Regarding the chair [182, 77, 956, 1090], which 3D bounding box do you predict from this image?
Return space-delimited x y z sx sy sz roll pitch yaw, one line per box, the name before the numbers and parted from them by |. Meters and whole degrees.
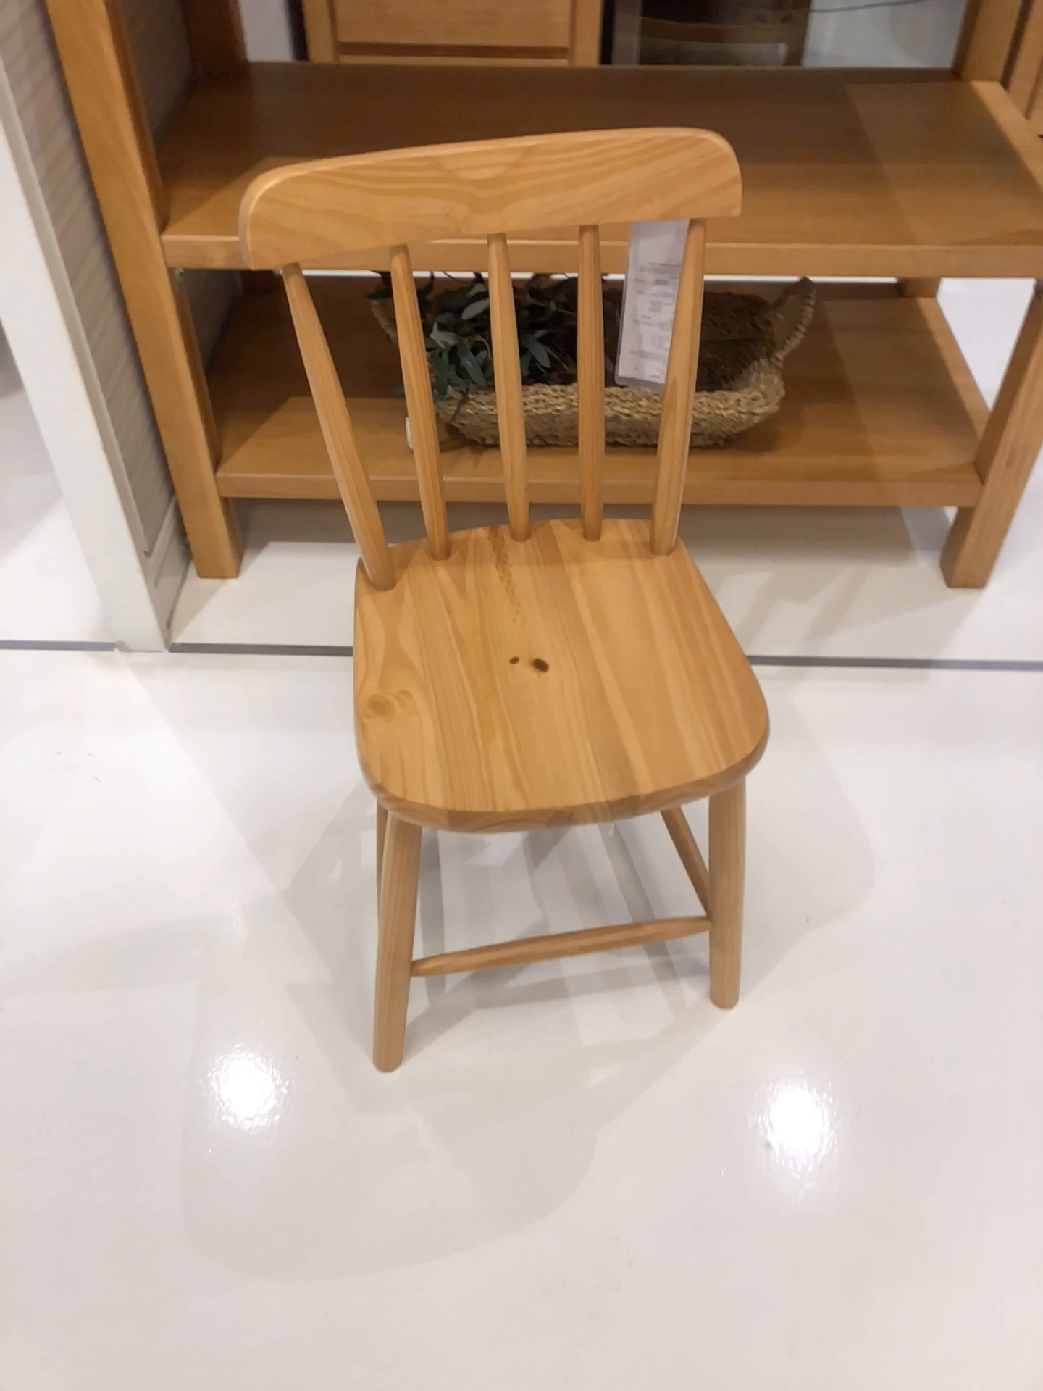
chair | -0.008 -0.059 1.034 0.420 0.754 0.453 -8 47 -7
